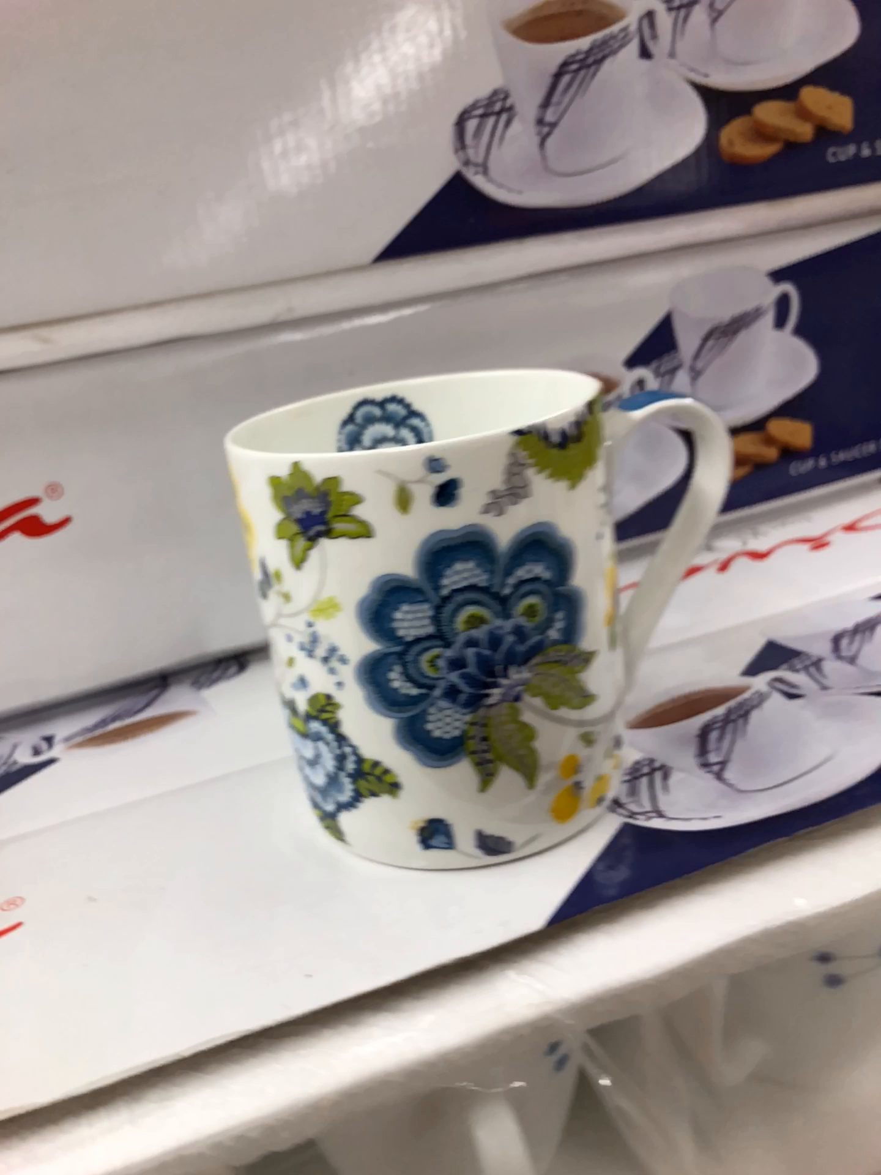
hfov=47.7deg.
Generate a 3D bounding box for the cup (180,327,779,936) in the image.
[{"bbox_3d":[0.010,0.000,0.217,0.100,0.090,0.070,-17,23,-22],"label":"cup"}]
